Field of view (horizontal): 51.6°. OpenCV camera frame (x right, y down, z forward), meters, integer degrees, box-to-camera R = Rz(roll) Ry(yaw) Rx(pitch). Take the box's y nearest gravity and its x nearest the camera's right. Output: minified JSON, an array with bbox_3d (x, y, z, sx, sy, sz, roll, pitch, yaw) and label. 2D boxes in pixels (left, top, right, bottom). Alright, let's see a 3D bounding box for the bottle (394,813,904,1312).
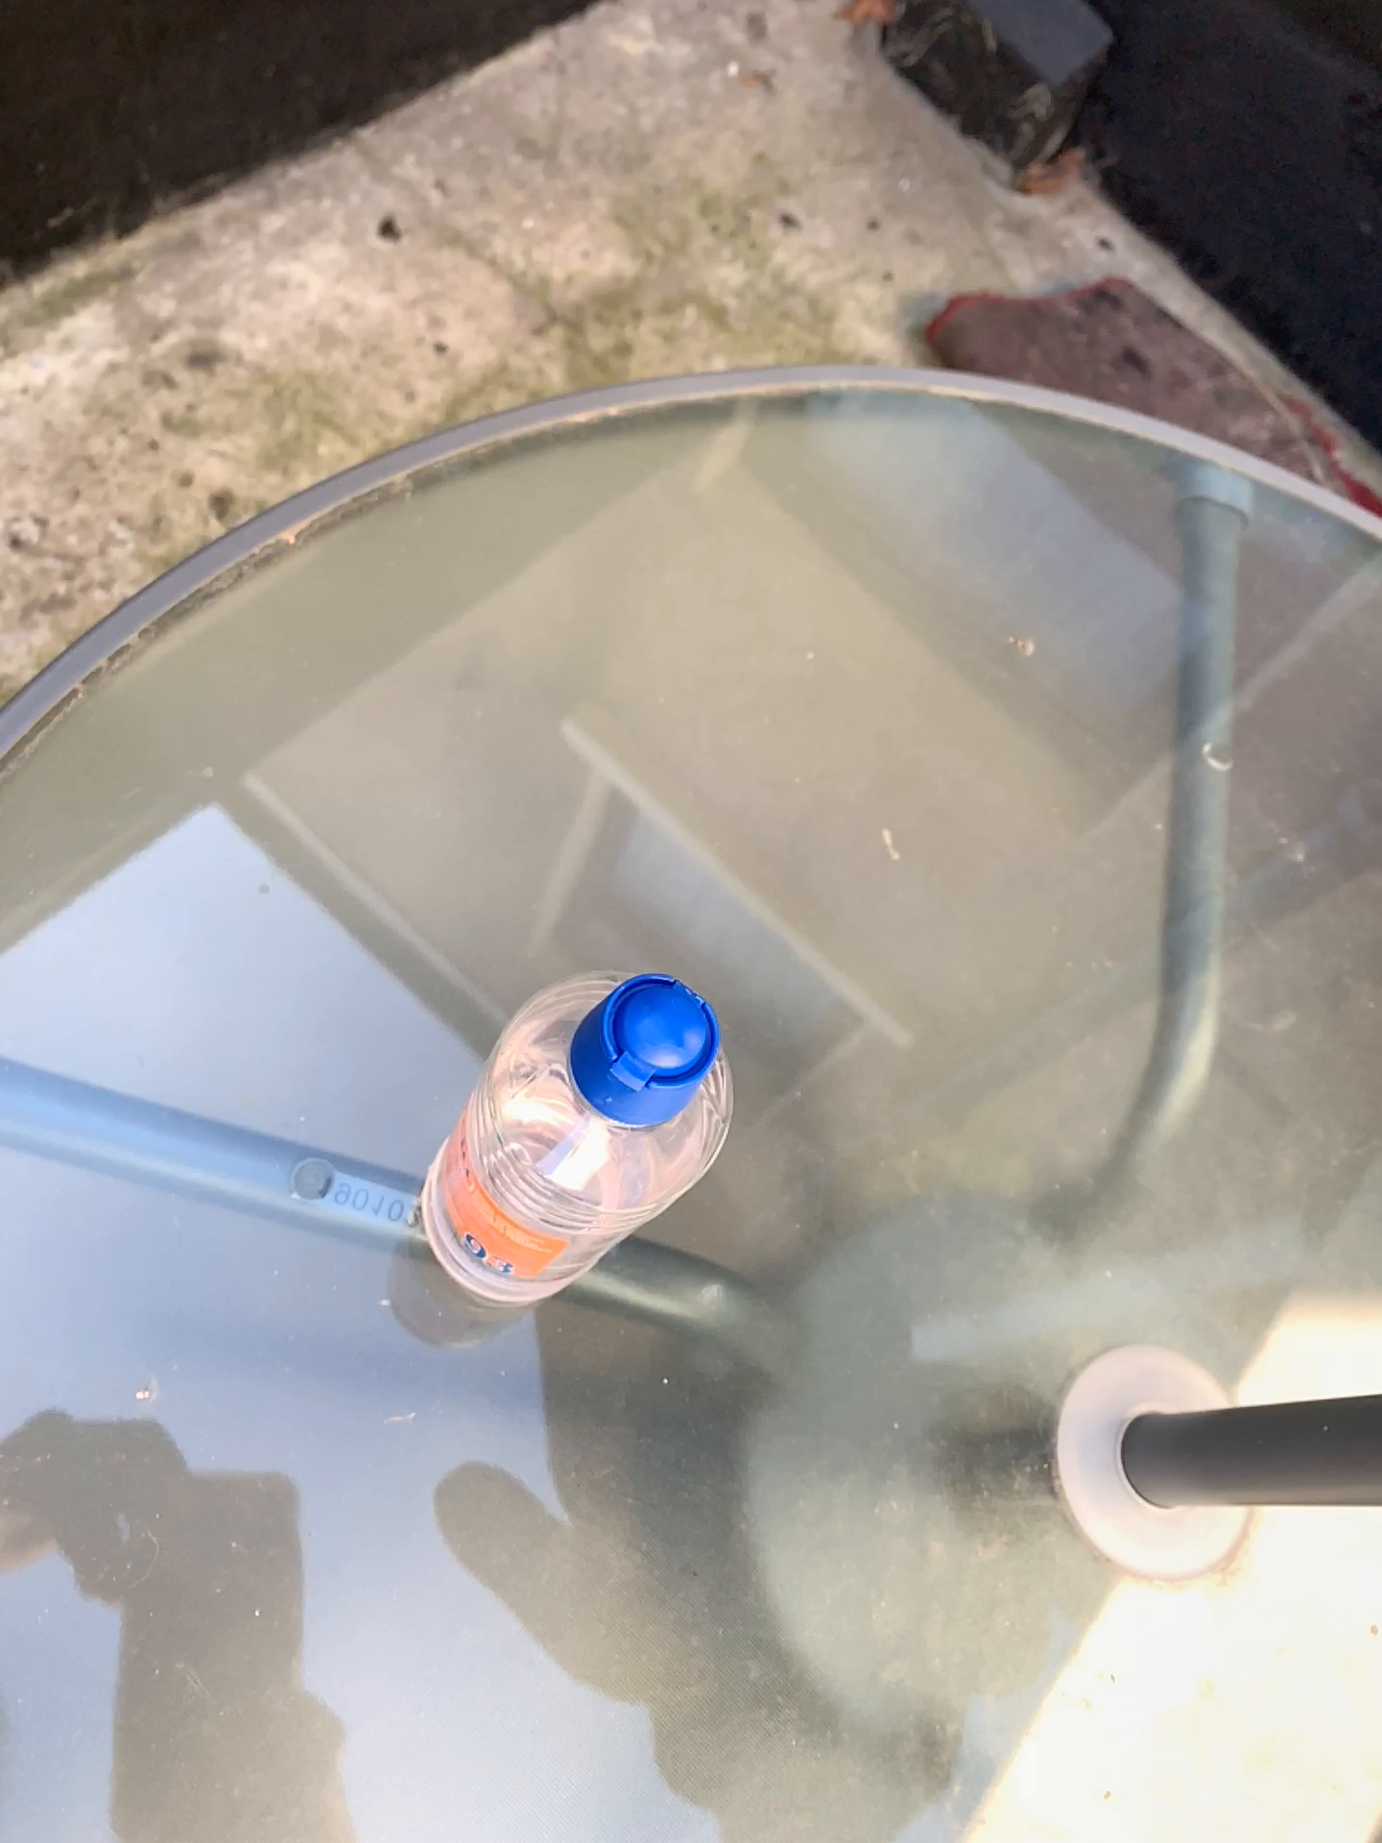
[{"bbox_3d":[-0.021,0.040,0.317,0.060,0.159,0.060,6,67,-16],"label":"bottle"}]
